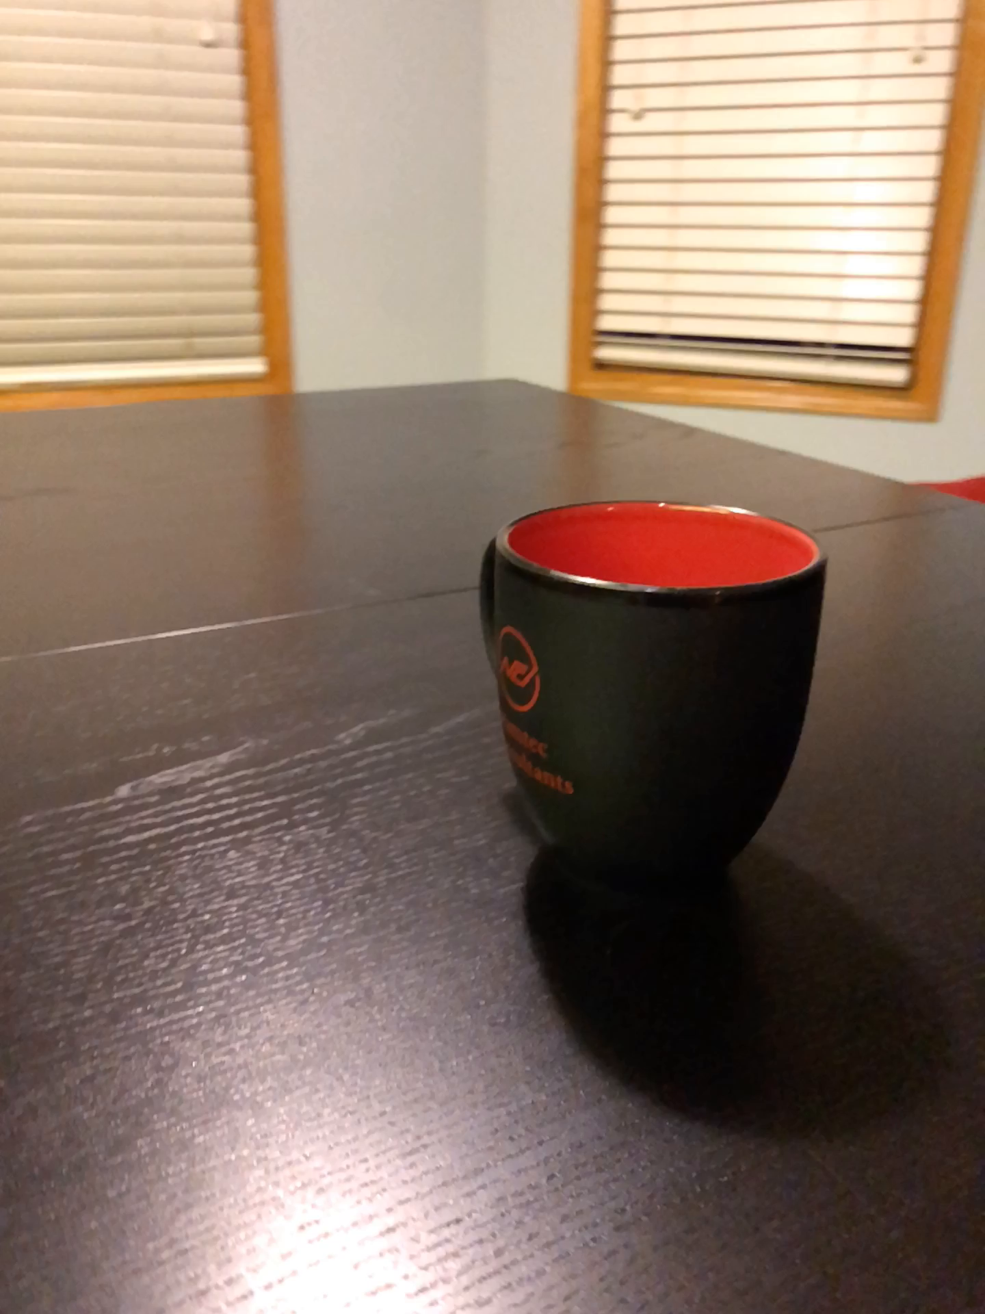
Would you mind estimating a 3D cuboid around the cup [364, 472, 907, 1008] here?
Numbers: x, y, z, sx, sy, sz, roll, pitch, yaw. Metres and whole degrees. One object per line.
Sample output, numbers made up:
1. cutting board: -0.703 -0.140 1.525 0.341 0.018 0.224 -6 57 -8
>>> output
1. cup: 0.036 0.012 0.358 0.100 0.110 0.140 -12 25 -30
